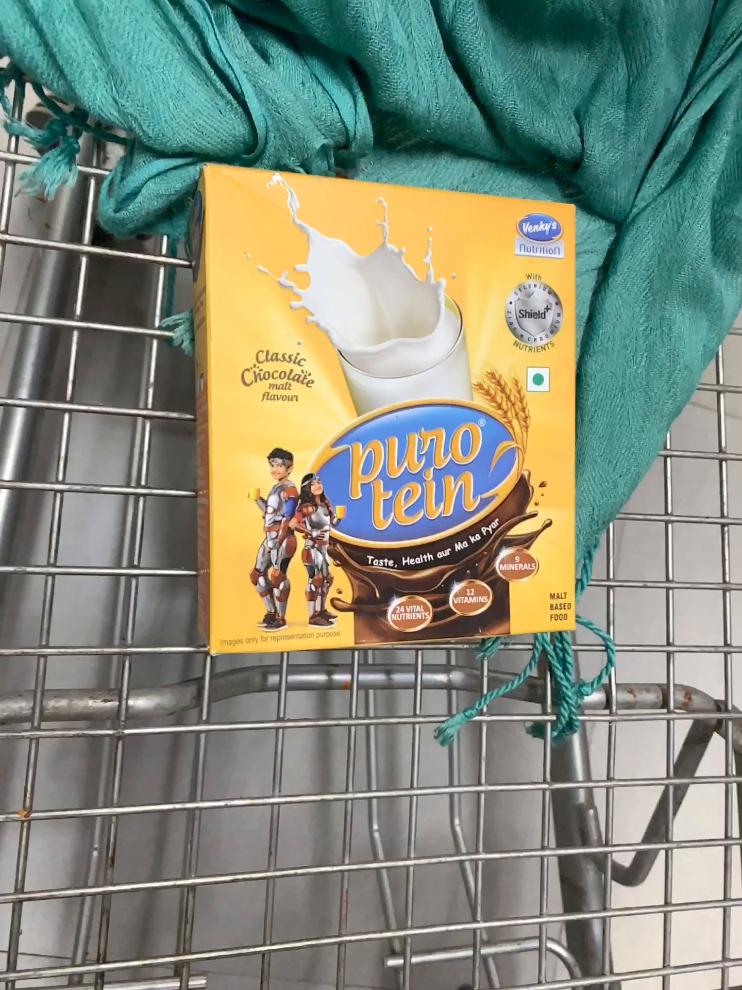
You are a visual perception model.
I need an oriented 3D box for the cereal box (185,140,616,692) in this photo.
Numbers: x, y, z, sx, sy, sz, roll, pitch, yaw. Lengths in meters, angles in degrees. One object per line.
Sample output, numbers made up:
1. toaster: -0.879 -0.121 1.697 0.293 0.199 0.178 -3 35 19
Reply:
1. cereal box: 0.009 -0.023 0.268 0.140 0.050 0.160 0 93 -18
